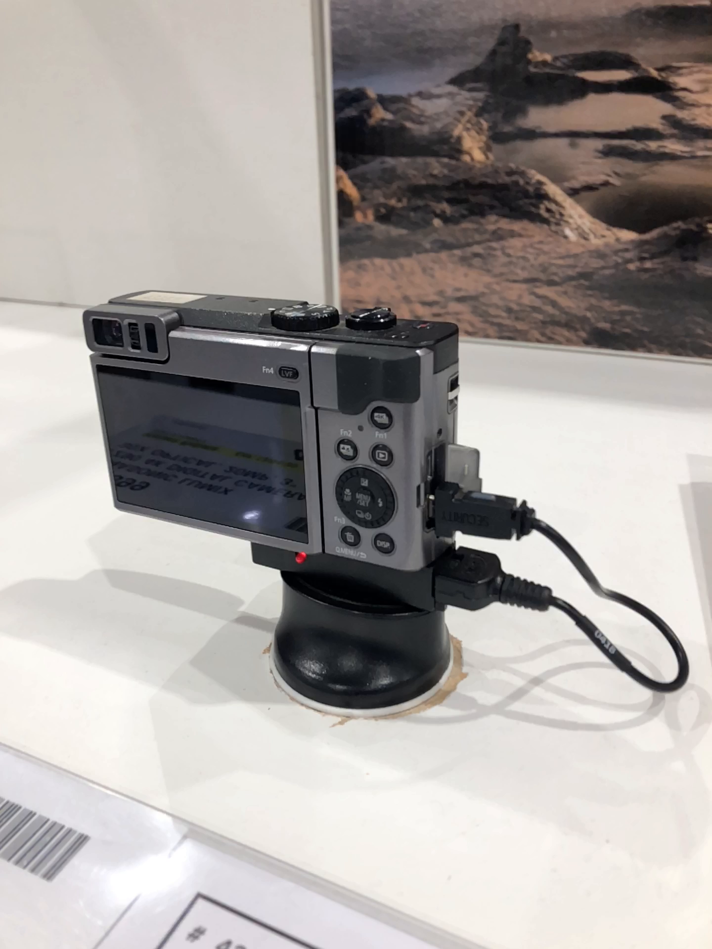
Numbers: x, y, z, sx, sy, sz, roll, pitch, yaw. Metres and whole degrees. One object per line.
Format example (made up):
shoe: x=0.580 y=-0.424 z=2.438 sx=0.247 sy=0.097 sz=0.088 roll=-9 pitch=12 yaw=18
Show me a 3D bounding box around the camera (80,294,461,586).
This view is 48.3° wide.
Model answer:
camera: x=-0.025 y=-0.014 z=0.233 sx=0.107 sy=0.065 sz=0.030 roll=10 pitch=26 yaw=26
